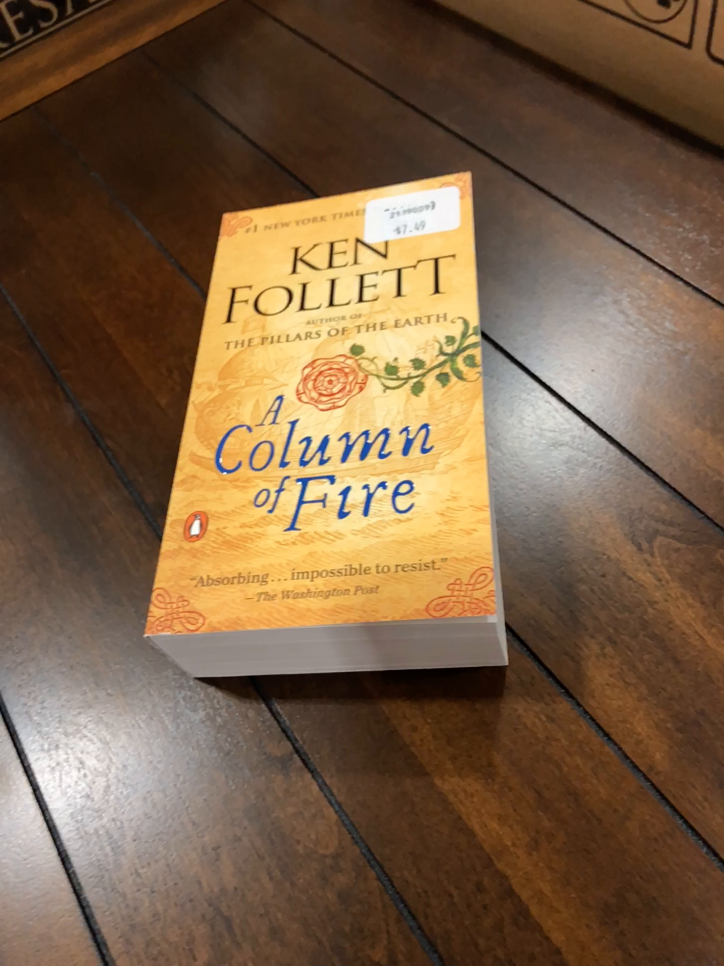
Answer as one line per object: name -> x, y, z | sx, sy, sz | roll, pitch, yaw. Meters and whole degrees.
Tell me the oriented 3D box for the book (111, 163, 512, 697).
book -> -0.010, -0.028, 0.287 | 0.110, 0.040, 0.195 | -4, 57, 10
